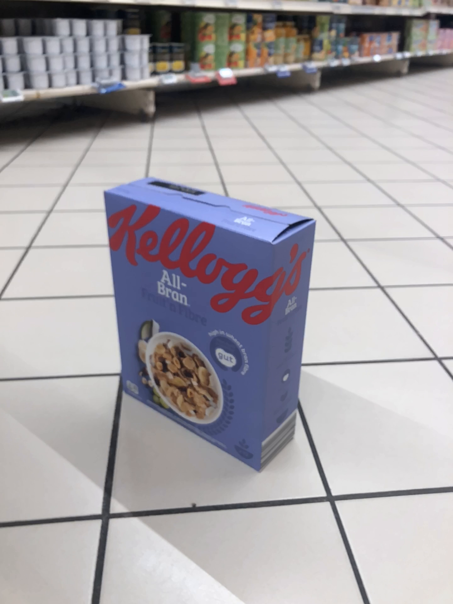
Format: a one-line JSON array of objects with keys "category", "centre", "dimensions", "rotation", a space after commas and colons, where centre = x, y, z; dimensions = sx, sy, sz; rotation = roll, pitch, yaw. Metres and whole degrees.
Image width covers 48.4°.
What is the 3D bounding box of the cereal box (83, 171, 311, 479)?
[{"category": "cereal box", "centre": [-0.034, 0.015, 0.492], "dimensions": [0.200, 0.239, 0.070], "rotation": [22, 35, 33]}]
